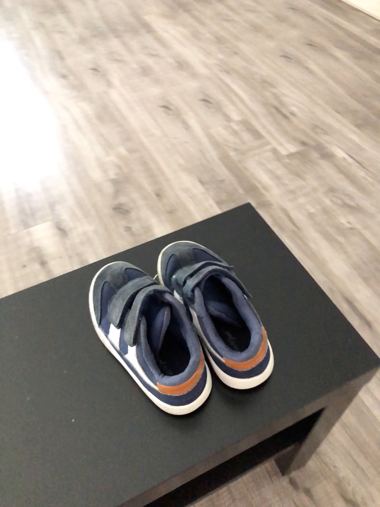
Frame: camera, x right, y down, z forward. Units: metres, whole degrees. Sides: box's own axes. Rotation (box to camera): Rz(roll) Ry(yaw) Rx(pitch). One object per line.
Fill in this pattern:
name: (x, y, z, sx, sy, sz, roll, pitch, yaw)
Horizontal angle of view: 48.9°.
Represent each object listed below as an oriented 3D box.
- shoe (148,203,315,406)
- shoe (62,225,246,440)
shoe: (0.032, 0.043, 0.428, 0.082, 0.068, 0.185, -21, 52, -14)
shoe: (-0.040, 0.068, 0.413, 0.088, 0.068, 0.185, -29, 54, -20)
